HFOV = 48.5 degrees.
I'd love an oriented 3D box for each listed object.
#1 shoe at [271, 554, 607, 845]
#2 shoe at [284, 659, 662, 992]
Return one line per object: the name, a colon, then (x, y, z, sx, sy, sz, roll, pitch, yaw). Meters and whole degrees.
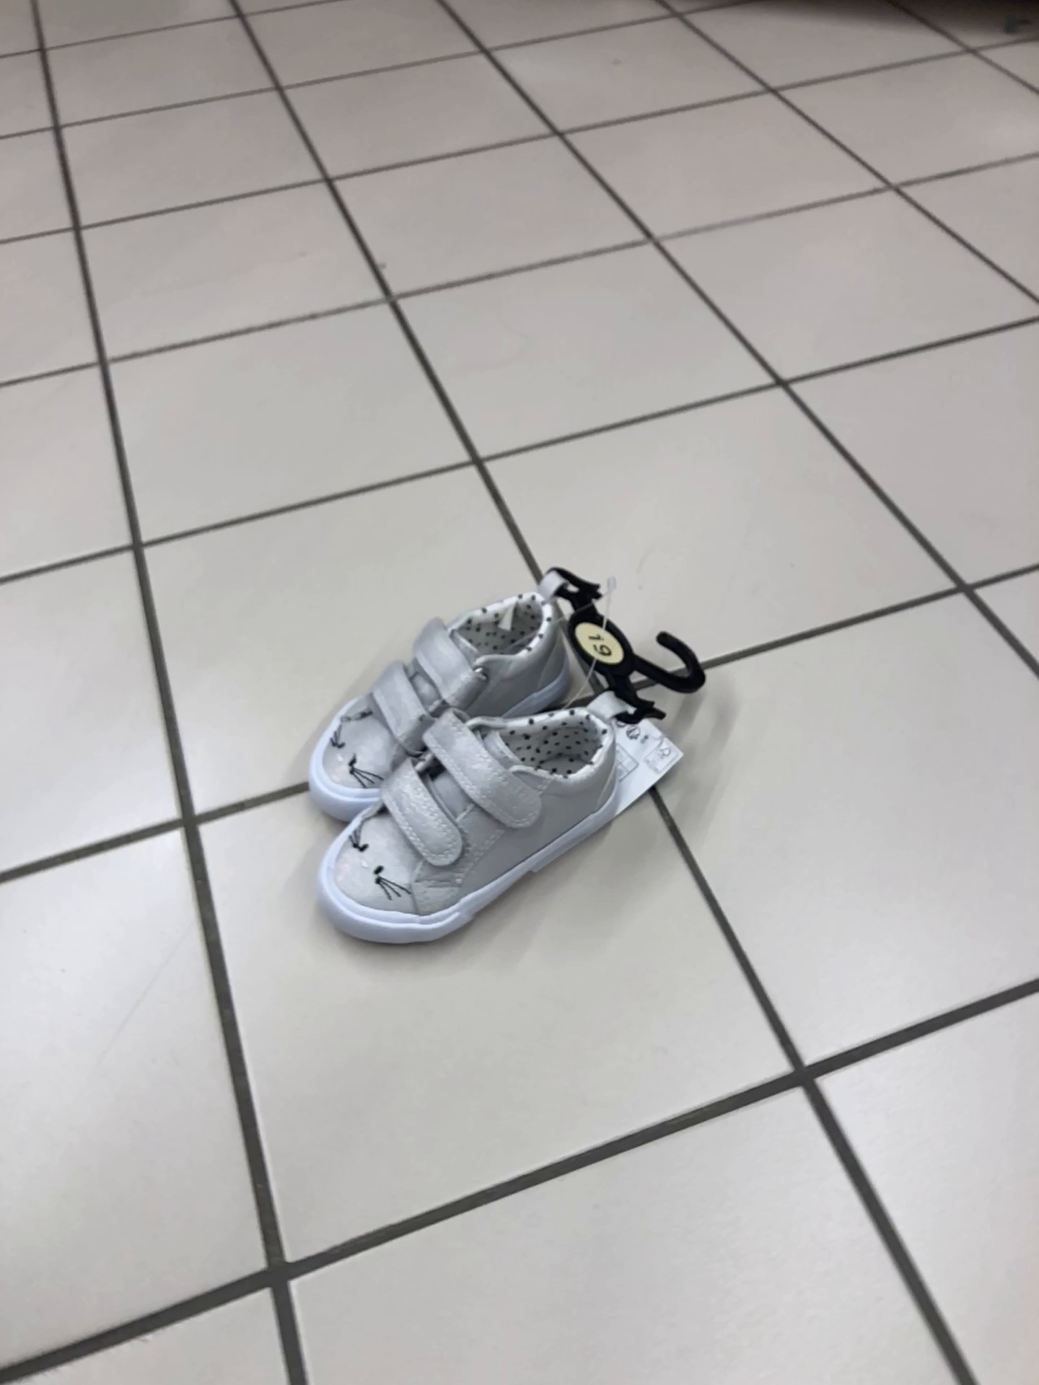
shoe: (-0.033, 0.001, 0.526, 0.138, 0.053, 0.059, -29, 53, -20)
shoe: (-0.017, 0.052, 0.480, 0.138, 0.053, 0.064, -27, 52, -19)
